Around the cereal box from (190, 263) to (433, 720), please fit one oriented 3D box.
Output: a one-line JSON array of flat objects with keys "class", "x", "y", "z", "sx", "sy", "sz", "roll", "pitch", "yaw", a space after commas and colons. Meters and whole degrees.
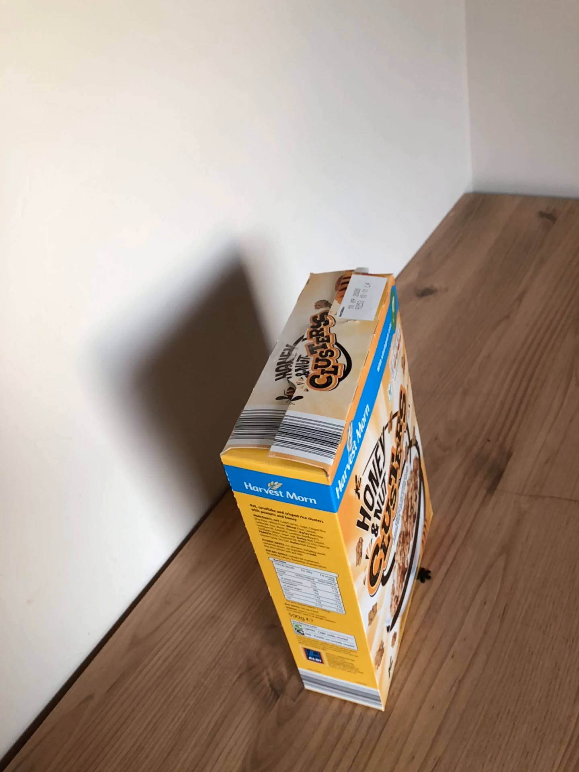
[{"class": "cereal box", "x": 0.040, "y": 0.073, "z": 0.446, "sx": 0.070, "sy": 0.248, "sz": 0.191, "roll": 5, "pitch": 43, "yaw": 22}]
